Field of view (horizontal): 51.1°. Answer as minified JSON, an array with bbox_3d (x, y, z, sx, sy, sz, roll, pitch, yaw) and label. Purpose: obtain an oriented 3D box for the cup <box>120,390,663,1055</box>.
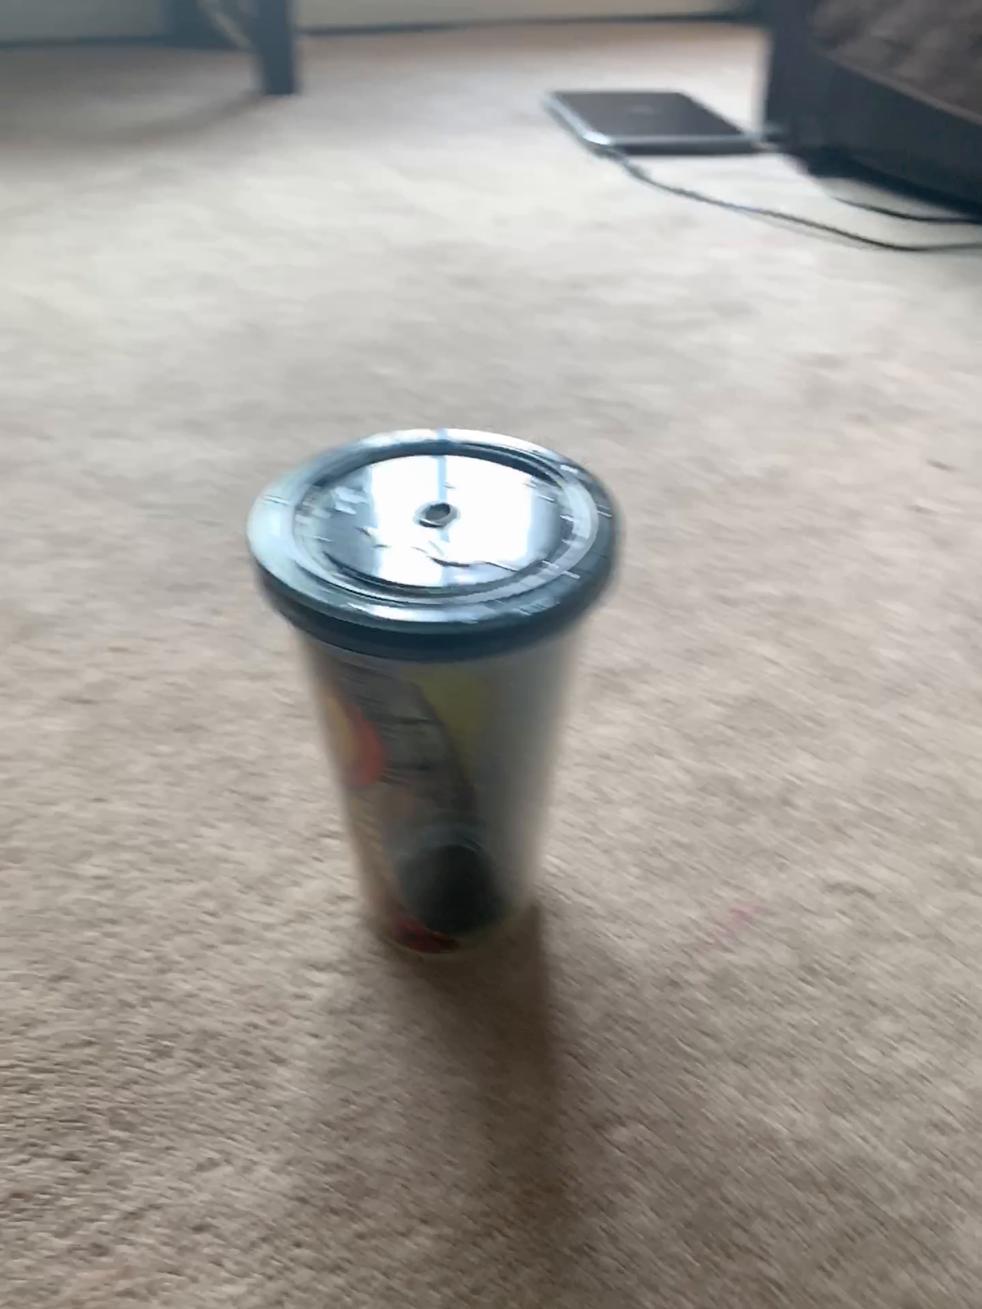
[{"bbox_3d":[-0.028,0.015,0.307,0.100,0.139,0.100,1,37,-1],"label":"cup"}]
